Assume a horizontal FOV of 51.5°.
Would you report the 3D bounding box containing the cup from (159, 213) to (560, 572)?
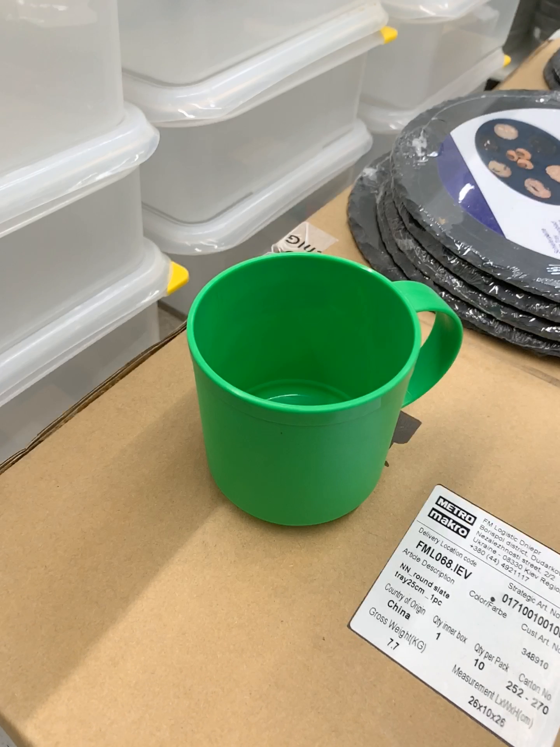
[{"bbox_3d":[0.023,0.003,0.209,0.105,0.069,0.076,-17,50,-16],"label":"cup"}]
